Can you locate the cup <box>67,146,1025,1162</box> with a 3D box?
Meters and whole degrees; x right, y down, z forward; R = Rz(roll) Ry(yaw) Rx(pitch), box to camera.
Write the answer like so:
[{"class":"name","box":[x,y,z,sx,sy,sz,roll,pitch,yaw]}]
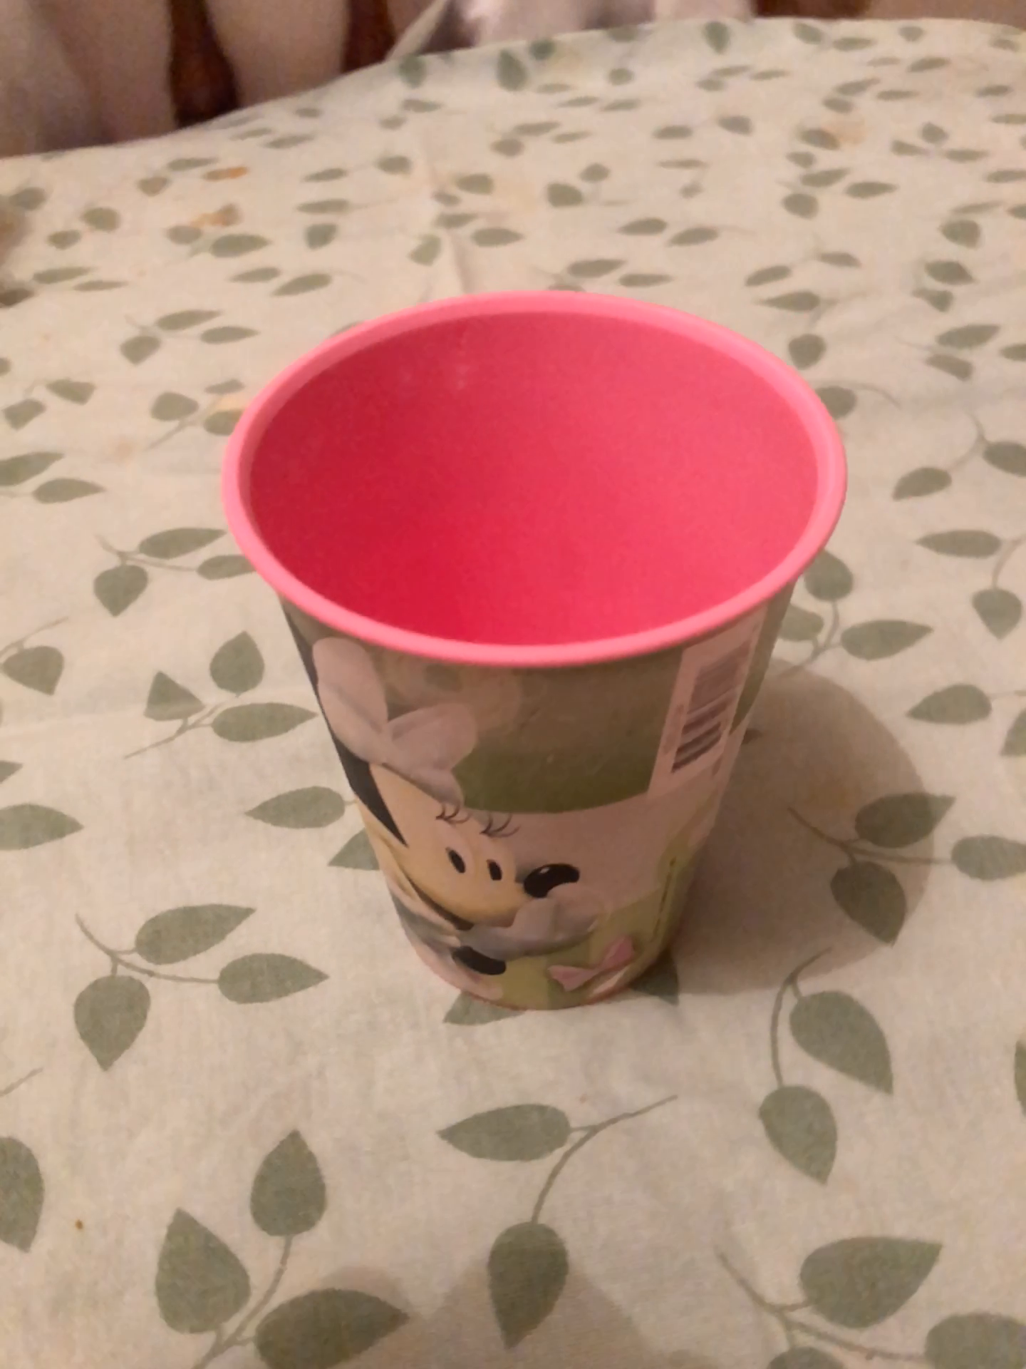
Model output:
[{"class":"cup","box":[0.005,-0.008,0.208,0.100,0.119,0.100,-1,46,1]}]
